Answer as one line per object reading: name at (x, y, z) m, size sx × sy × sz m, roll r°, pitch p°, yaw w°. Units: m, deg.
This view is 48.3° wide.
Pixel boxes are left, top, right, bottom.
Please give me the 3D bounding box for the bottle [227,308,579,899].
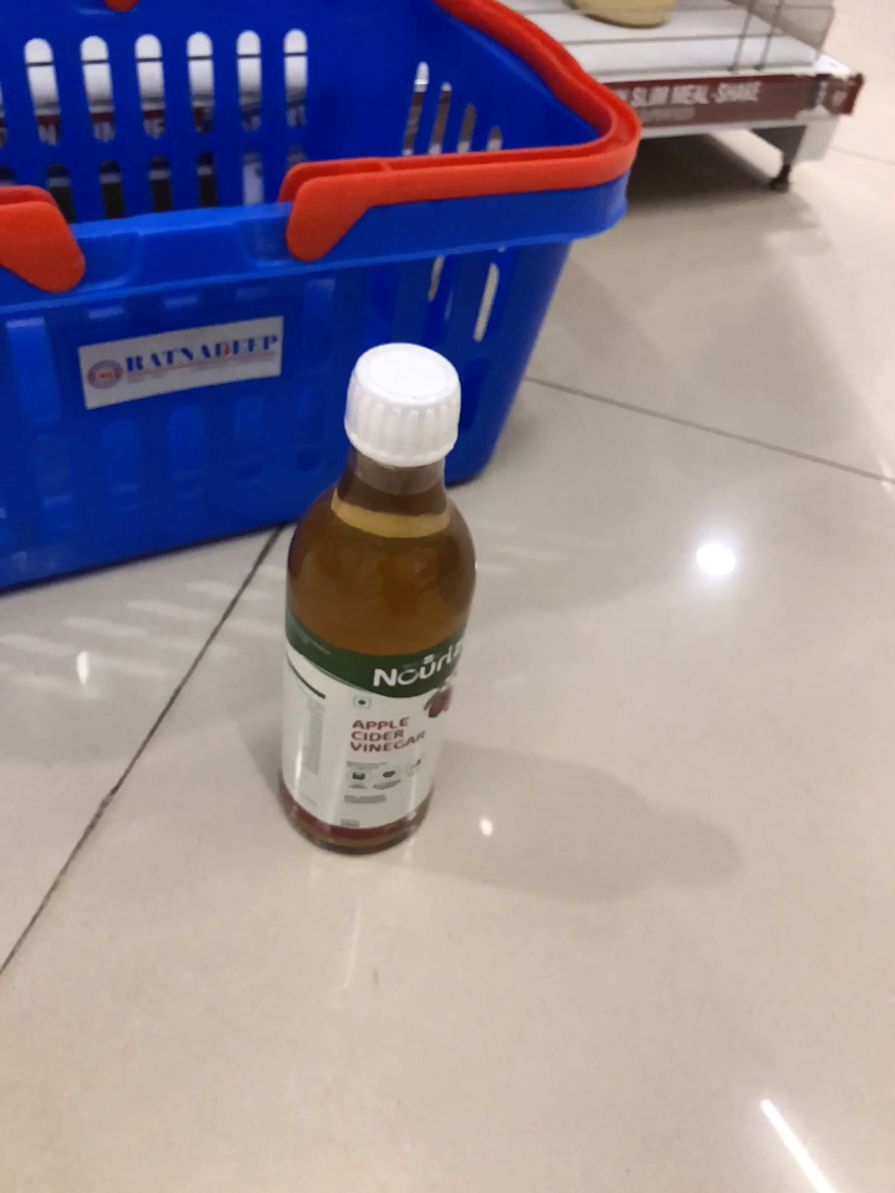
bottle at (-0.028, 0.015, 0.371) m, size 0.080 × 0.218 × 0.070 m, roll -18°, pitch 52°, yaw -25°
